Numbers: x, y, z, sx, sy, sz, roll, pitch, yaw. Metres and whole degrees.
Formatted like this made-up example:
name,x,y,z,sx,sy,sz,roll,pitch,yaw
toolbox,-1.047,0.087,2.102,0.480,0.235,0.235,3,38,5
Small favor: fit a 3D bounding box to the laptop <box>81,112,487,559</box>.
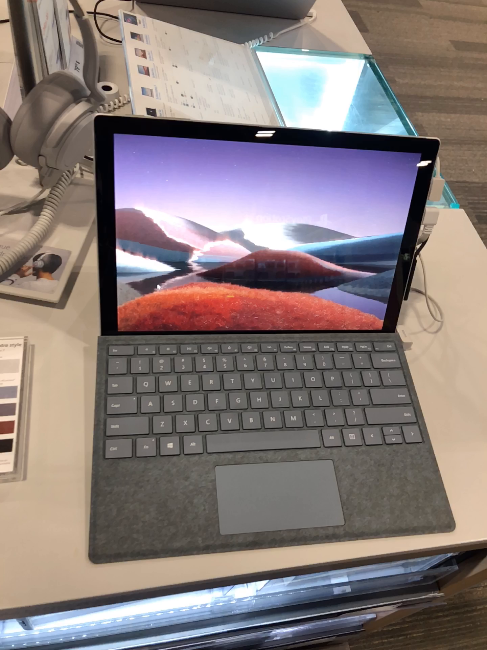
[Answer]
name,x,y,z,sx,sy,sz,roll,pitch,yaw
laptop,0.029,-0.006,0.416,0.261,0.143,0.284,-1,58,-8
